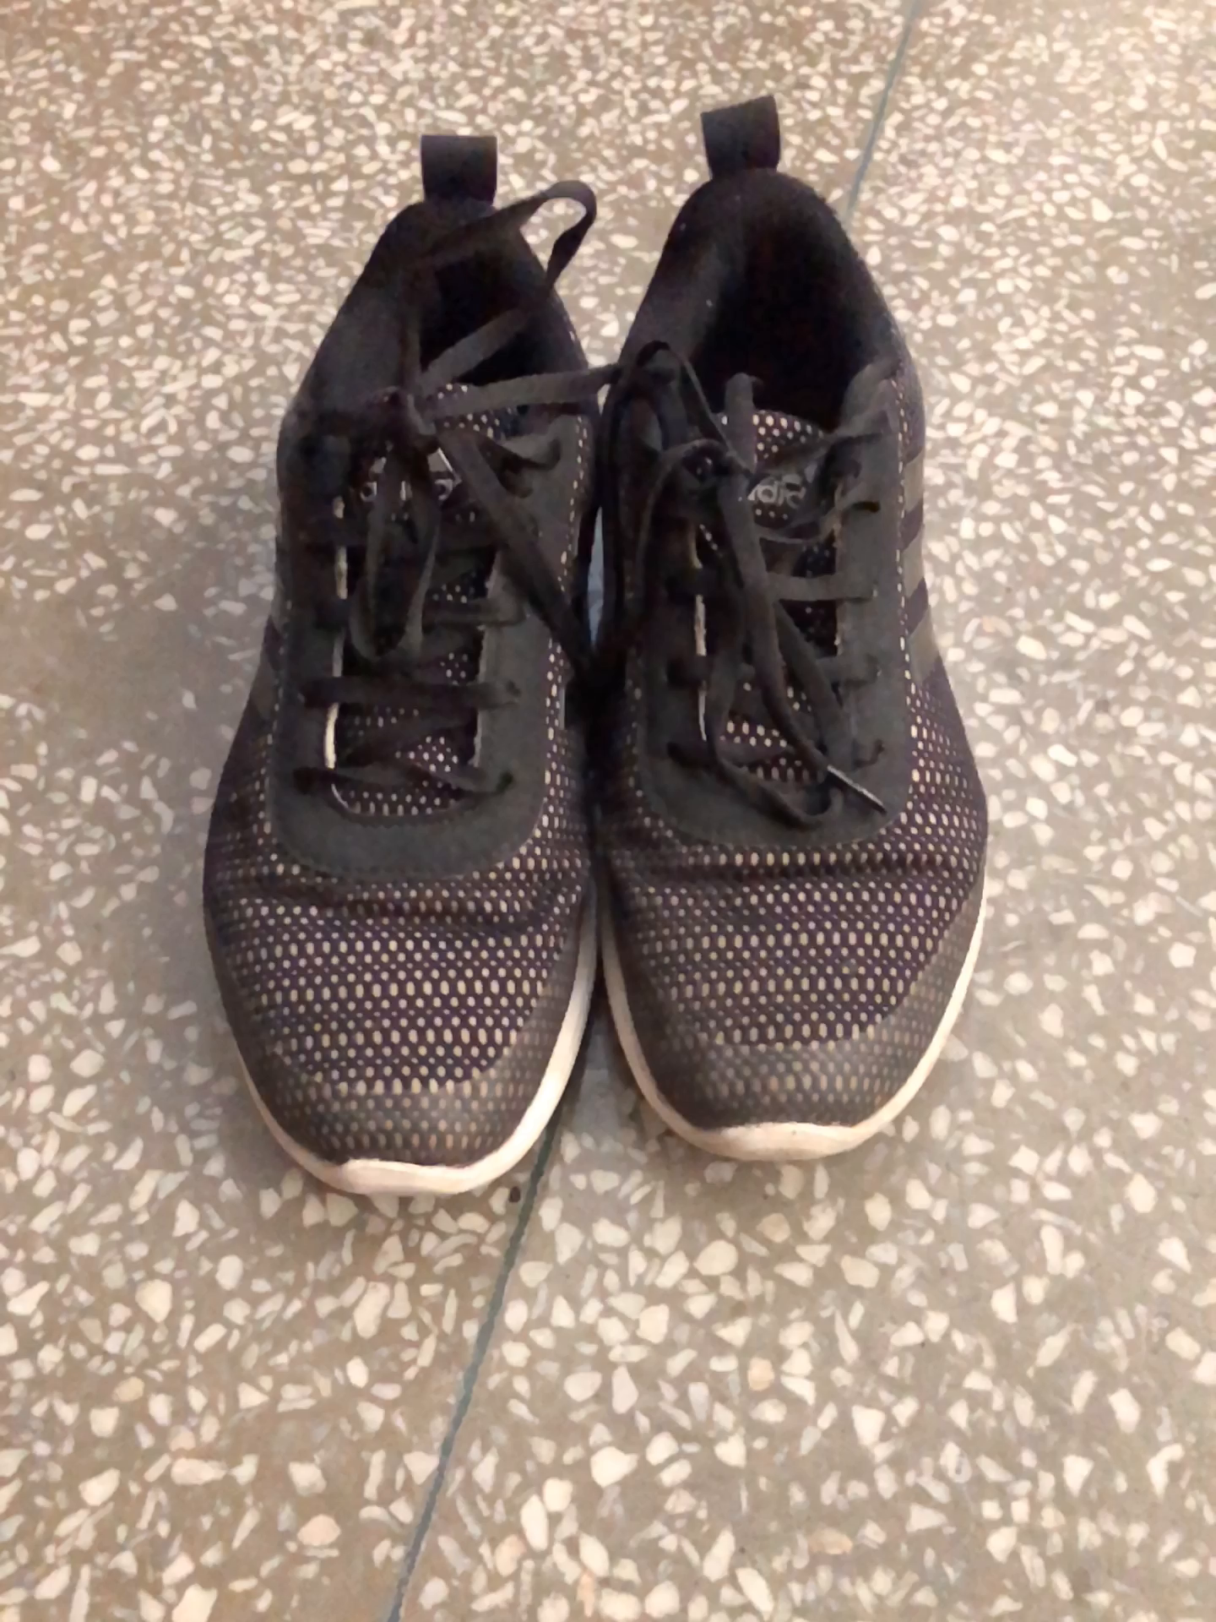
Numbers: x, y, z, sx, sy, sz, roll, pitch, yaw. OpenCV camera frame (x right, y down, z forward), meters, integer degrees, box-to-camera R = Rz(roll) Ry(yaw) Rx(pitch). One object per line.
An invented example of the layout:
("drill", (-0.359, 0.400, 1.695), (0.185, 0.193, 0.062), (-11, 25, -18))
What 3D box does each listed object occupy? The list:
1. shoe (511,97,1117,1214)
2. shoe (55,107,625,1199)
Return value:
("shoe", (0.039, -0.051, 0.326), (0.100, 0.080, 0.270), (1, 60, 1))
("shoe", (-0.048, -0.054, 0.342), (0.100, 0.080, 0.280), (-1, 60, 0))
